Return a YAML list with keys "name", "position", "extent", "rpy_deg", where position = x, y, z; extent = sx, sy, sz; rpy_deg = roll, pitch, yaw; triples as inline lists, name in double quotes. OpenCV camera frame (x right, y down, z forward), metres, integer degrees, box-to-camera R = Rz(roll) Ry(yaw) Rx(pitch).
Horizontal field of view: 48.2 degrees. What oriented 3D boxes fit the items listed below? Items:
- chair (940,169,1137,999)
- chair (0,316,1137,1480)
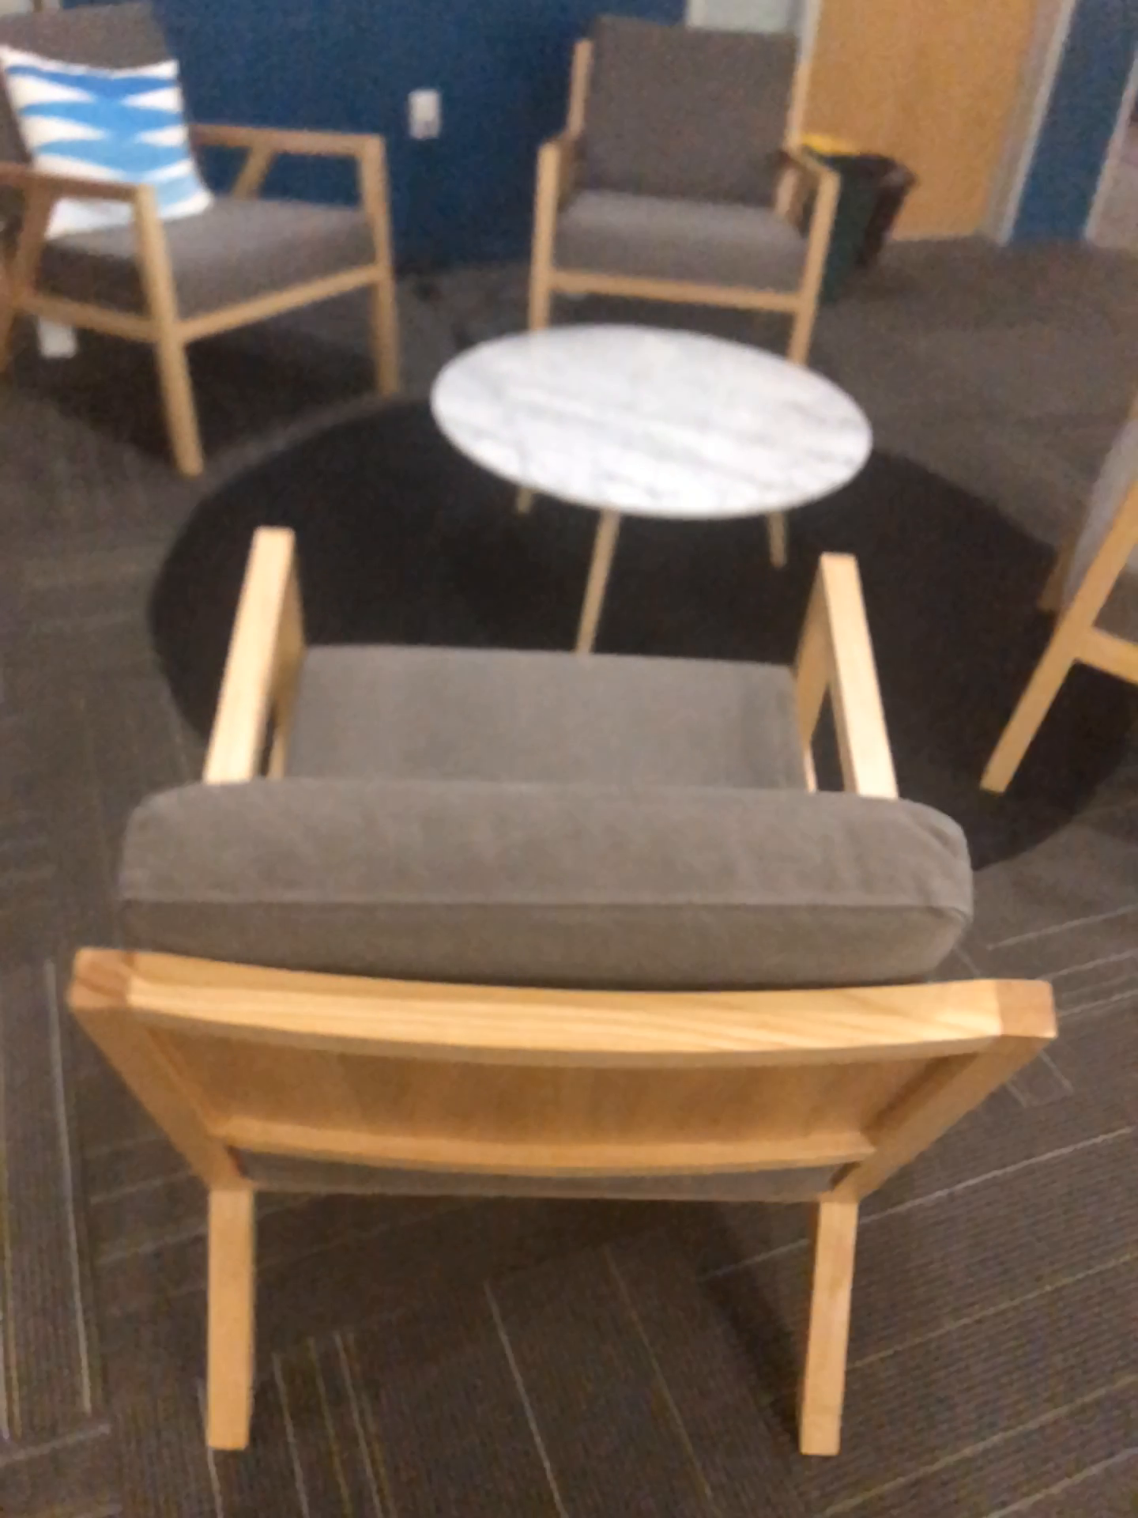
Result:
- name: "chair"
  position: [1.184, -0.305, 1.931]
  extent: [0.870, 0.753, 0.727]
  rpy_deg: [23, 42, 13]
- name: "chair"
  position: [-0.013, 0.128, 1.264]
  extent: [0.720, 0.773, 0.807]
  rpy_deg: [3, 42, -3]
